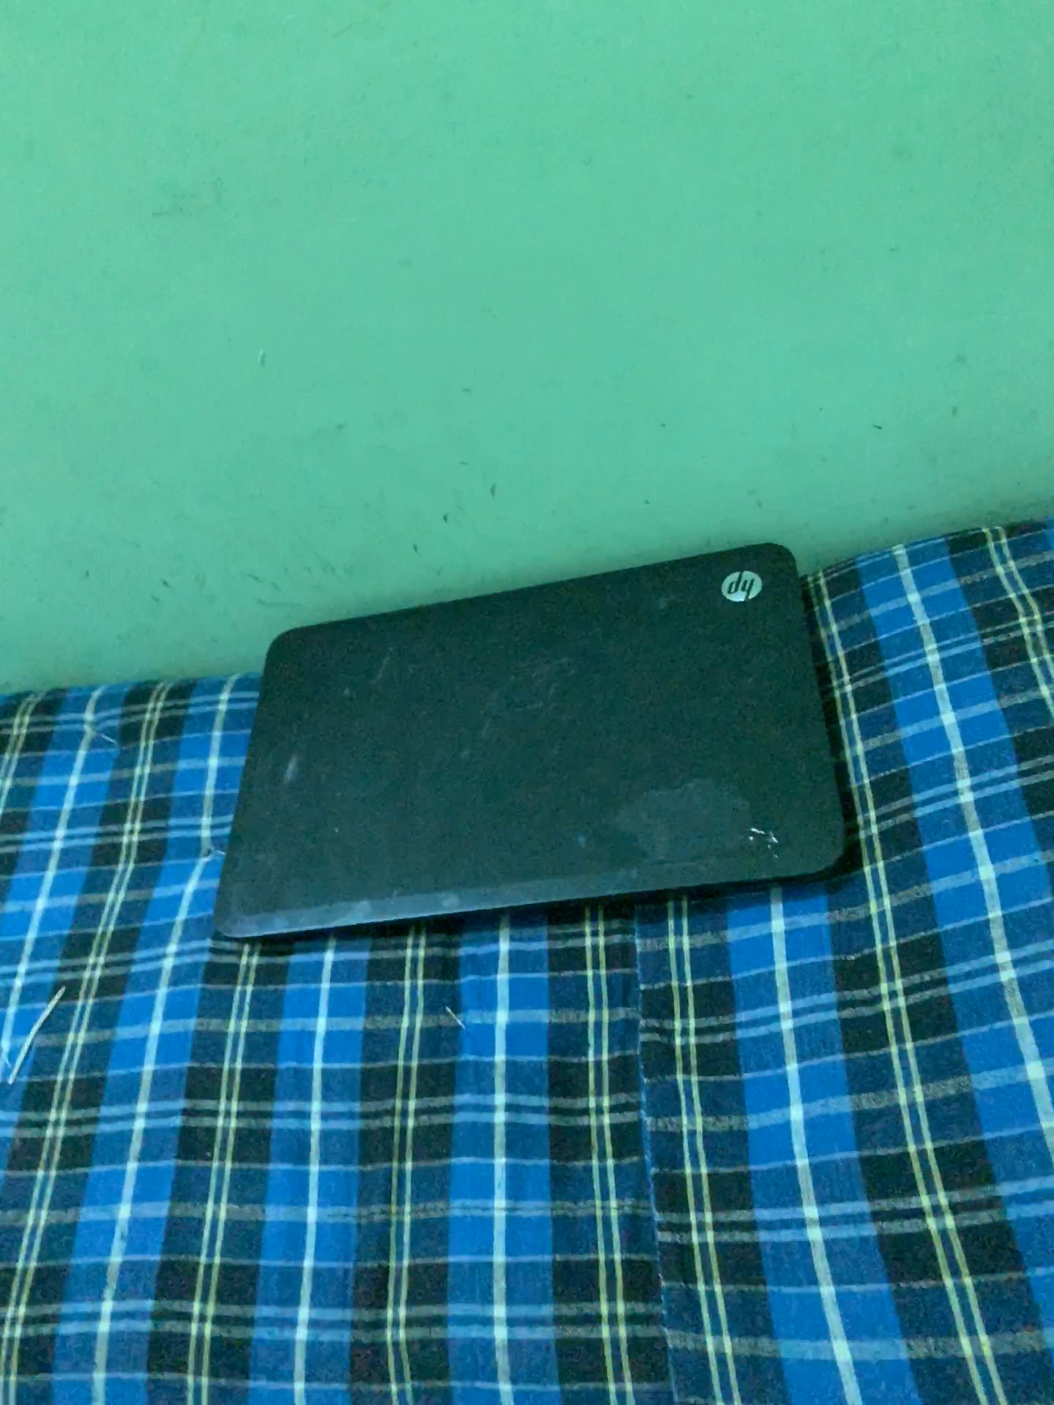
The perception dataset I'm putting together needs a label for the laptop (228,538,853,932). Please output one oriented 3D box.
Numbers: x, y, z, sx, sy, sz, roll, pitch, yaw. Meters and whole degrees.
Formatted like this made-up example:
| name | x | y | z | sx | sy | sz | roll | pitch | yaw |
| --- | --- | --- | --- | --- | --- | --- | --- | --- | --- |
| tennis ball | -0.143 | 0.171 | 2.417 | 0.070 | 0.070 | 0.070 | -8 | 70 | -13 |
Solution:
| name | x | y | z | sx | sy | sz | roll | pitch | yaw |
| --- | --- | --- | --- | --- | --- | --- | --- | --- | --- |
| laptop | 0.000 | 0.016 | 0.651 | 0.347 | 0.018 | 0.217 | -9 | 52 | 13 |
